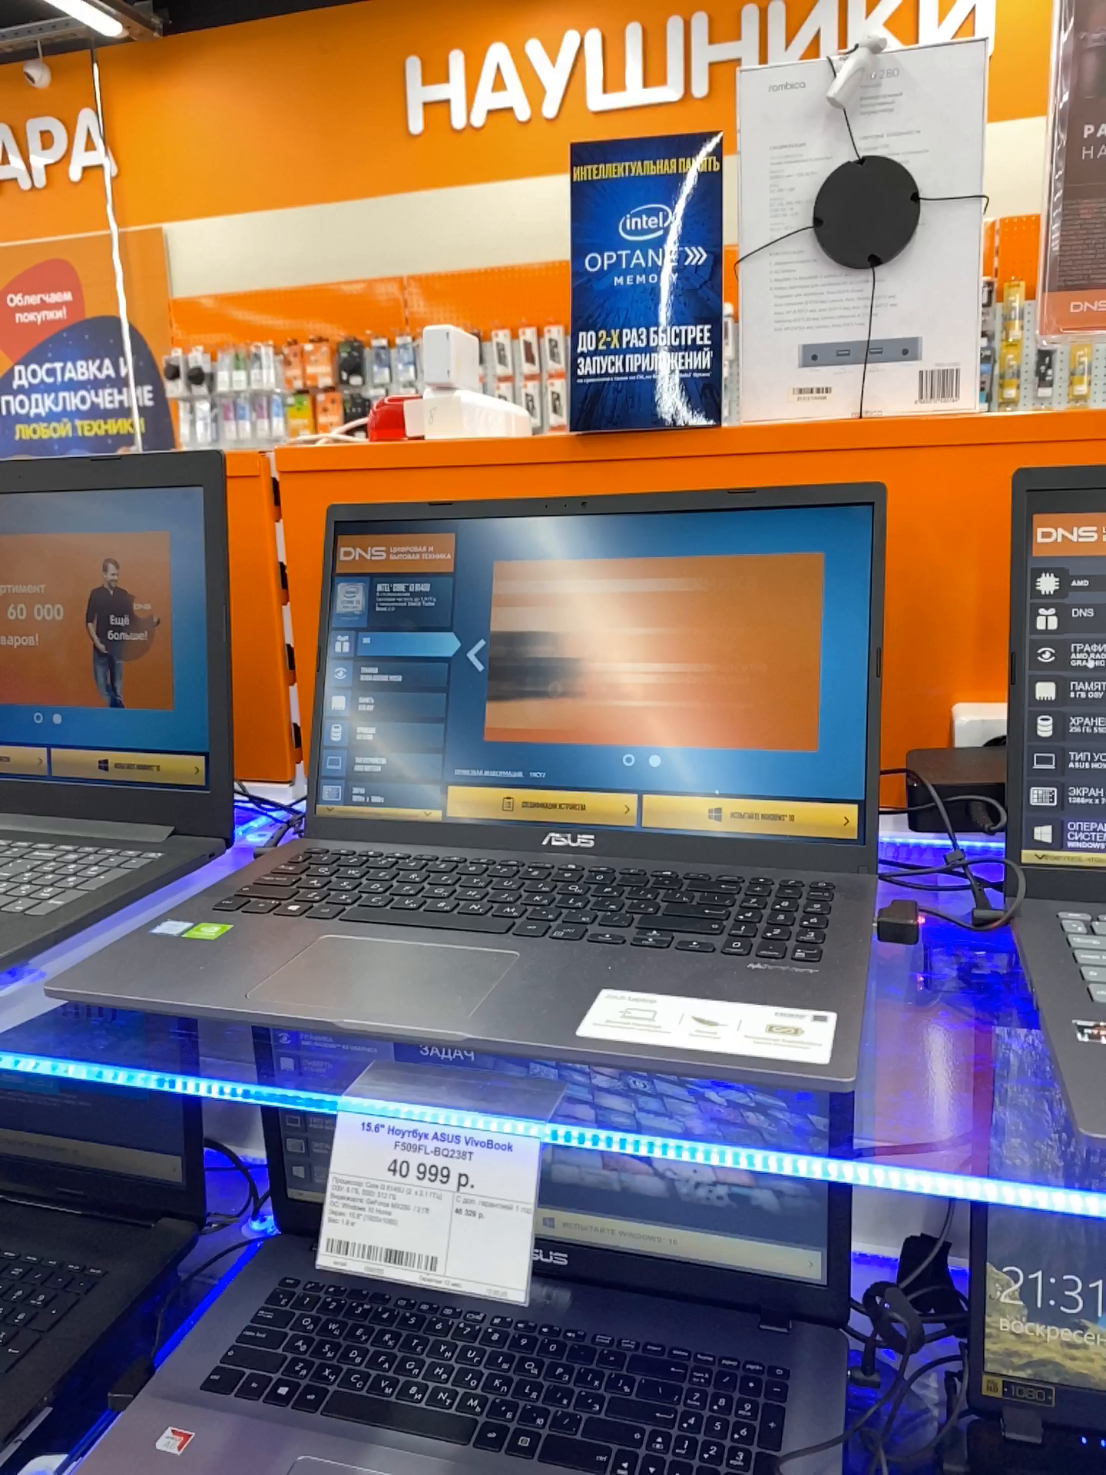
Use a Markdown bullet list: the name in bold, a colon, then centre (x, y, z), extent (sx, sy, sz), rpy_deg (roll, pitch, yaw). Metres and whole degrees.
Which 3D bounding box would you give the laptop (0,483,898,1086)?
- **laptop**: centre (-0.014, -0.017, 0.583), extent (0.357, 0.211, 0.307), rpy_deg (2, 12, 17)
